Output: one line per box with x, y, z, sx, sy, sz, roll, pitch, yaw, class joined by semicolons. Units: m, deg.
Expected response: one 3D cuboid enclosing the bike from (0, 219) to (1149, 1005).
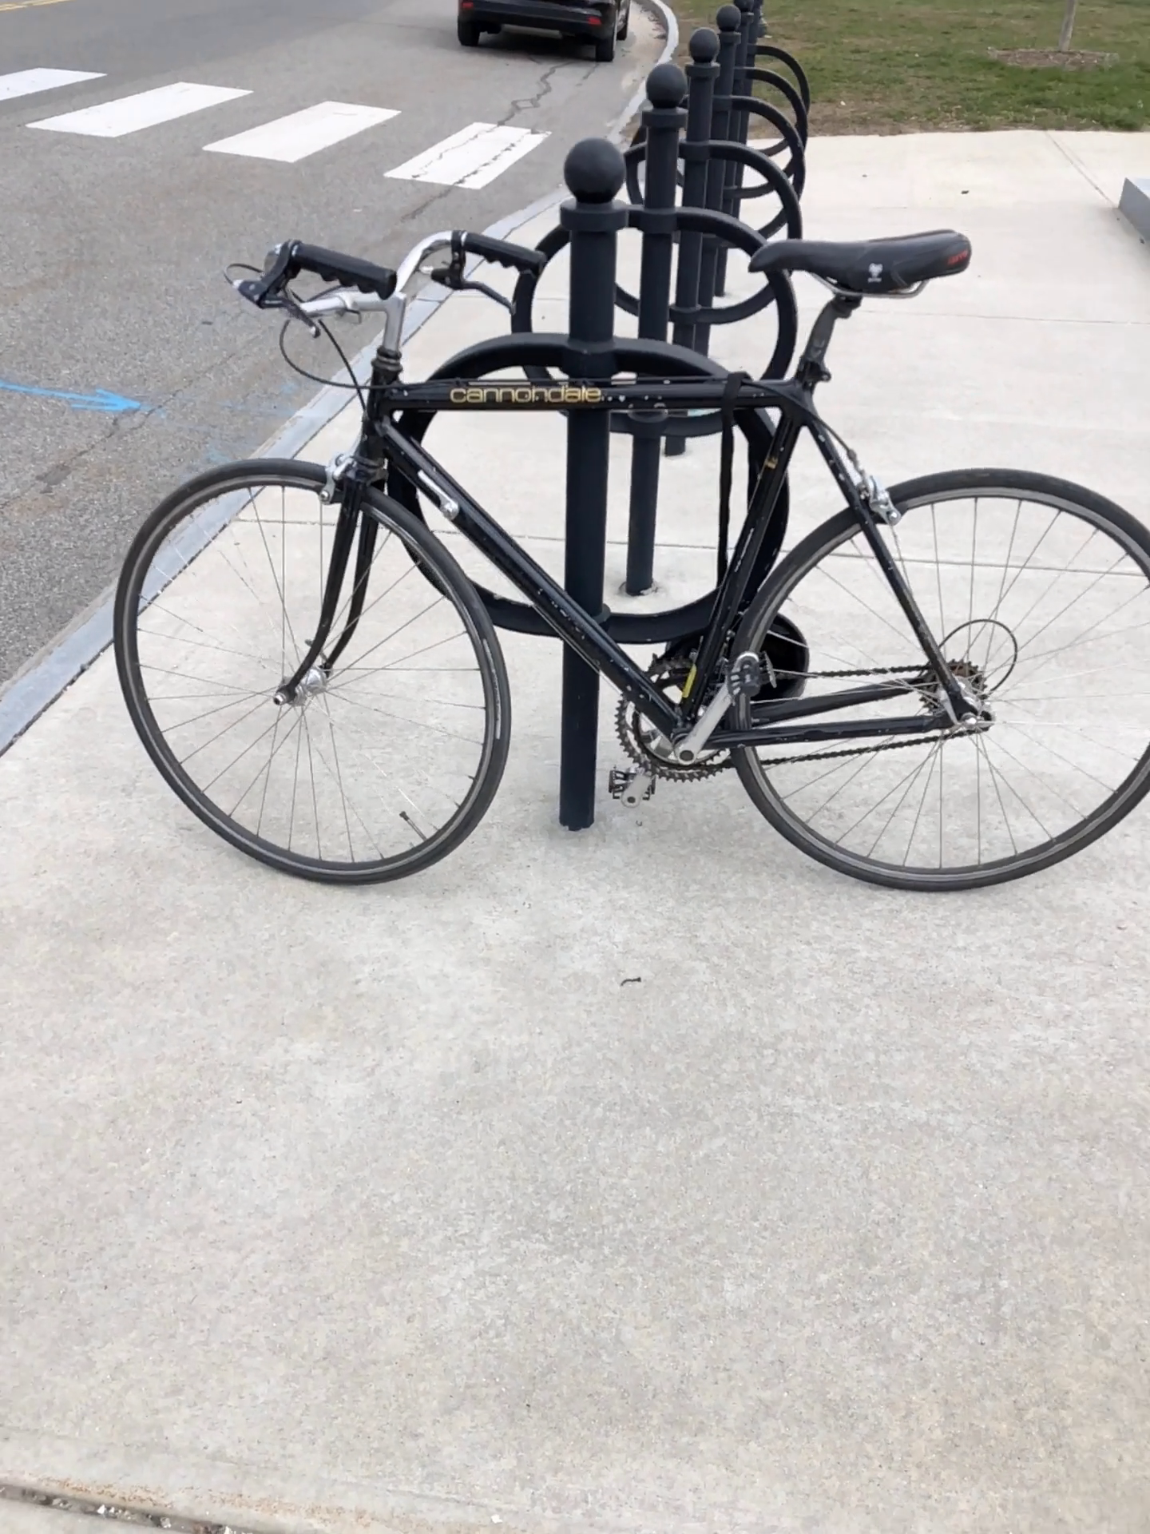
0.060;-0.191;1.578;1.382;0.805;0.488;2;35;6;bike
